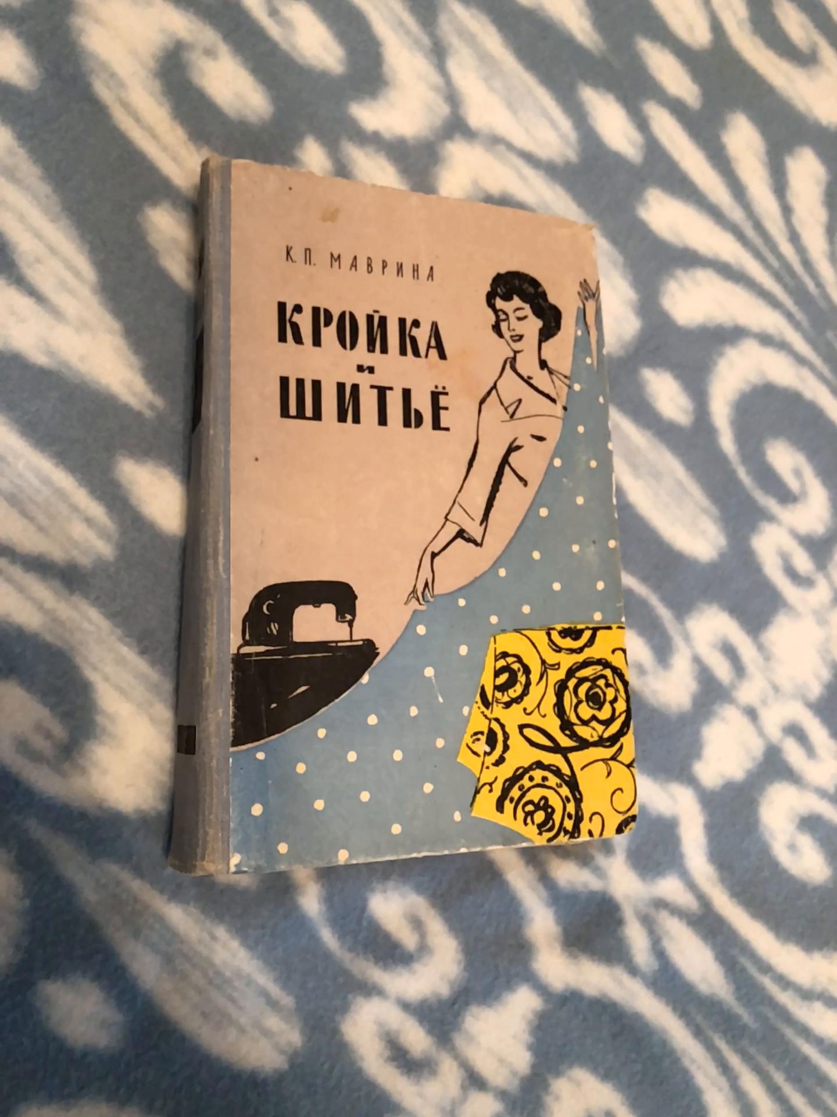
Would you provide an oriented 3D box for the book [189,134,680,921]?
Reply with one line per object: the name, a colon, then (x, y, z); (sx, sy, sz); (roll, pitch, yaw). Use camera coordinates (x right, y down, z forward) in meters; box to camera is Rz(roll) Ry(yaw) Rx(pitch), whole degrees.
book: (0.005, -0.011, 0.312); (0.152, 0.037, 0.231); (2, 80, -20)
